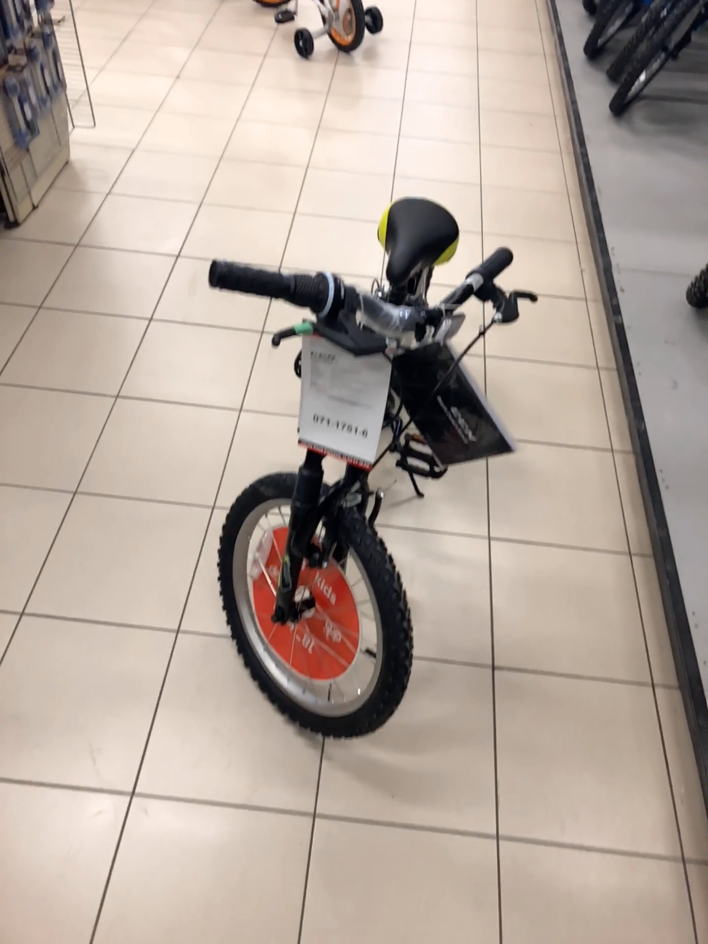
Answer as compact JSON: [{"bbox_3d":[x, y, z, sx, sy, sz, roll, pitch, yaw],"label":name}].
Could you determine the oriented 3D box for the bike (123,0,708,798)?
[{"bbox_3d":[0.103,-0.208,1.409,0.549,0.861,1.200,7,48,2],"label":"bike"}]
